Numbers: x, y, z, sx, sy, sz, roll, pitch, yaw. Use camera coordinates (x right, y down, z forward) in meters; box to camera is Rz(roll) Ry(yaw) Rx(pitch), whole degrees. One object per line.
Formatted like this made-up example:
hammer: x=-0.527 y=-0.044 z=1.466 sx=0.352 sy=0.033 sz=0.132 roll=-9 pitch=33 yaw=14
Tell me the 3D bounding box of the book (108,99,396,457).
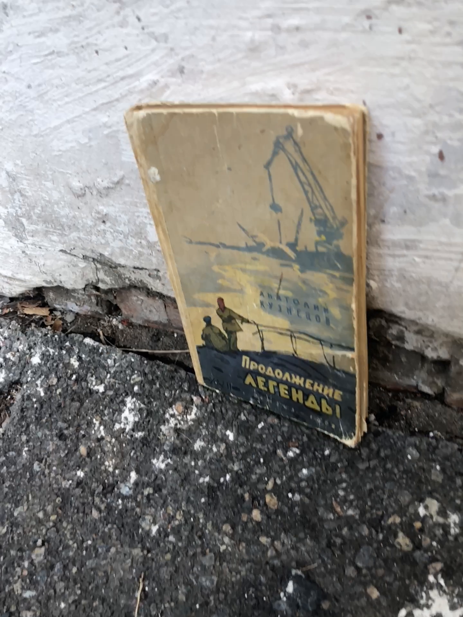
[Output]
book: x=0.012 y=-0.016 z=0.283 sx=0.136 sy=0.181 sz=0.030 roll=15 pitch=38 yaw=30
